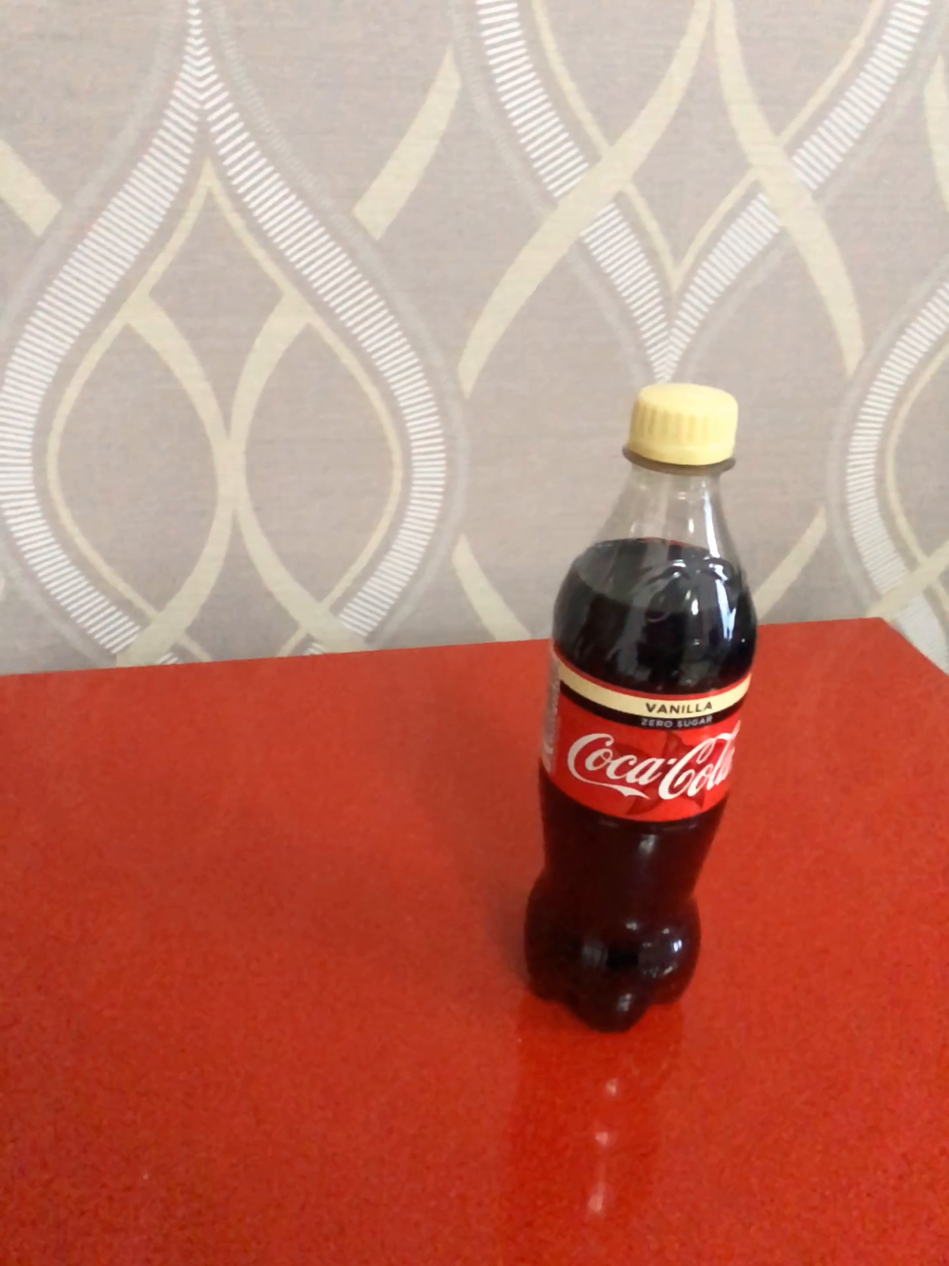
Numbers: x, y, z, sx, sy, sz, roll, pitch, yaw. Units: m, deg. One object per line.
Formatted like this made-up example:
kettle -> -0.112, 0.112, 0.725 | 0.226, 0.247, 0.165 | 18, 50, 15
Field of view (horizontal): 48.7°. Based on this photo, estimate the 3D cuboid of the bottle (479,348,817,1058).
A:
bottle -> 0.047, 0.030, 0.370 | 0.070, 0.238, 0.081 | -3, 28, -10
